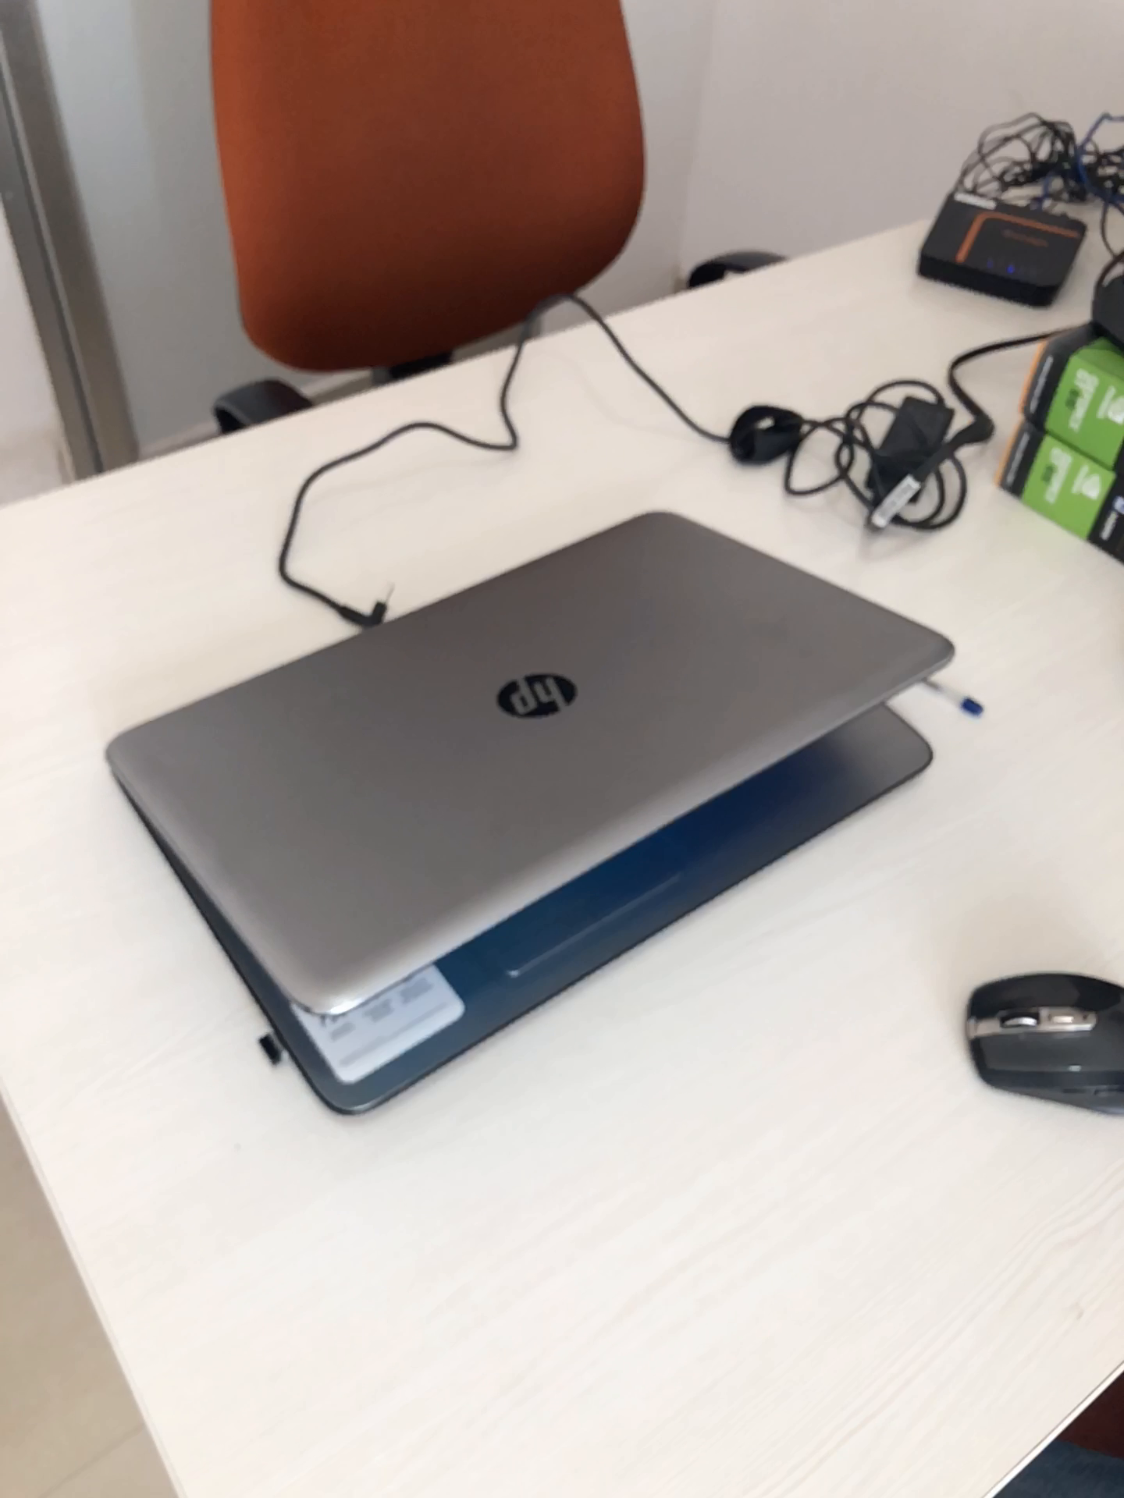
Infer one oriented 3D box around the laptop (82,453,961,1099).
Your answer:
[{"bbox_3d":[-0.015,-0.015,0.632,0.356,0.062,0.226,-27,55,-26],"label":"laptop"}]
